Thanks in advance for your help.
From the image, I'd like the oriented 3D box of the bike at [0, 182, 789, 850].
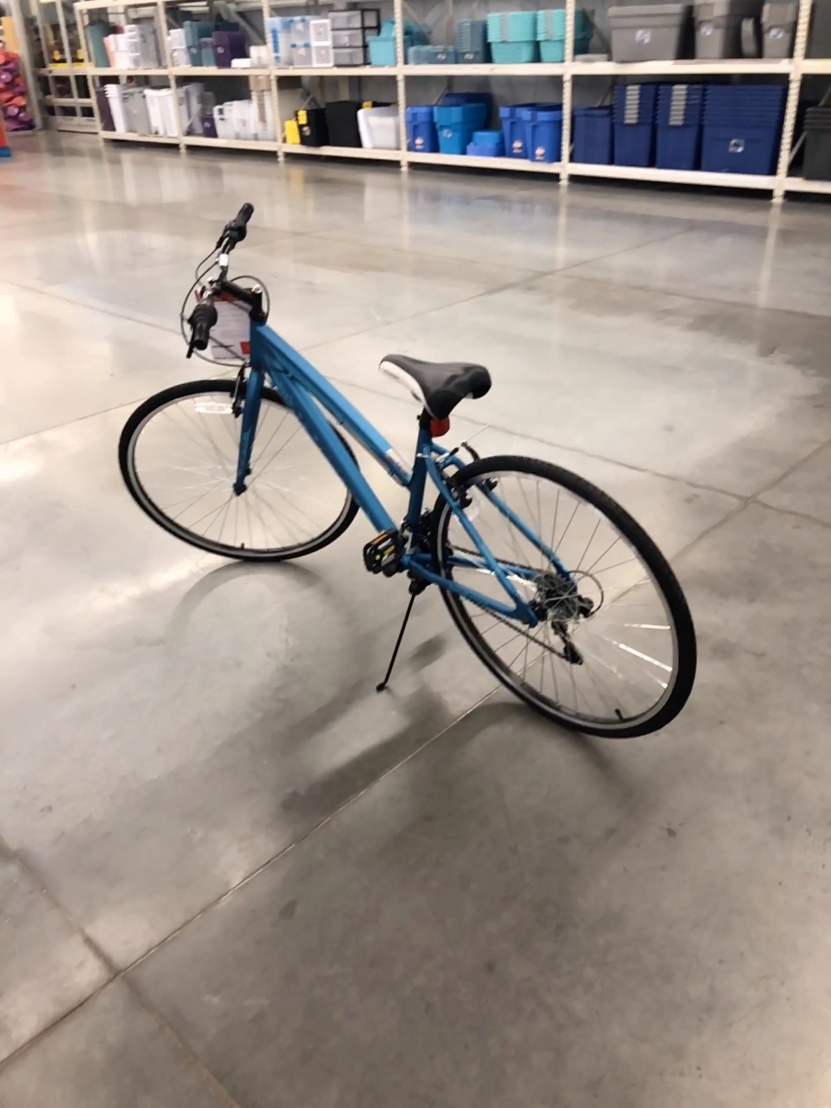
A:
[{"bbox_3d":[-0.129,-0.232,2.073,1.609,0.978,0.579,19,35,32],"label":"bike"}]
